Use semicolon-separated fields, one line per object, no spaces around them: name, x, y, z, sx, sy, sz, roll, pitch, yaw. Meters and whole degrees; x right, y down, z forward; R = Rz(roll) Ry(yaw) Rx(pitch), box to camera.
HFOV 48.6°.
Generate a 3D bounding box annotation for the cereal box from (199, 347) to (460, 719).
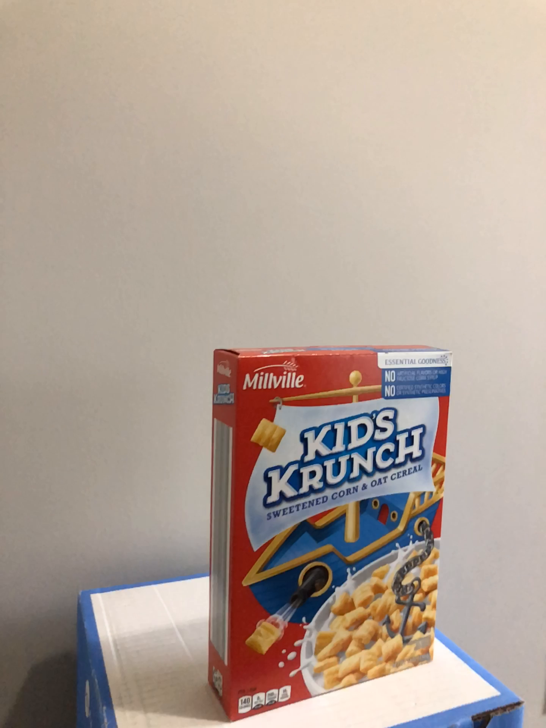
cereal box;0.048;0.124;0.509;0.210;0.270;0.060;-2;6;-25
